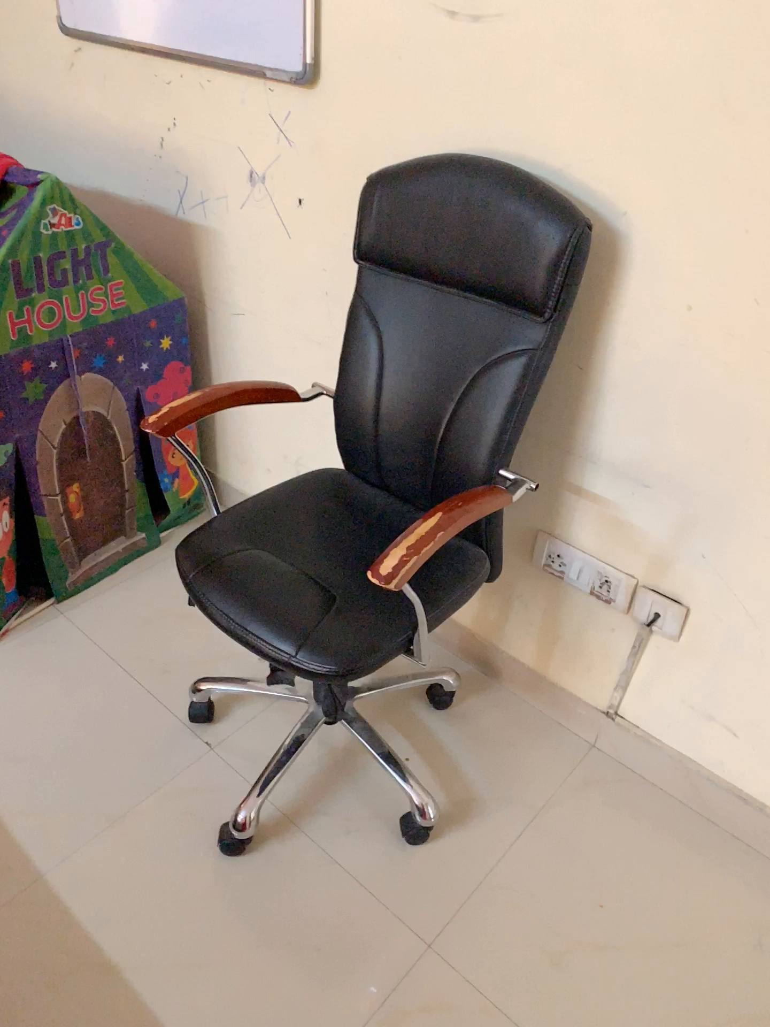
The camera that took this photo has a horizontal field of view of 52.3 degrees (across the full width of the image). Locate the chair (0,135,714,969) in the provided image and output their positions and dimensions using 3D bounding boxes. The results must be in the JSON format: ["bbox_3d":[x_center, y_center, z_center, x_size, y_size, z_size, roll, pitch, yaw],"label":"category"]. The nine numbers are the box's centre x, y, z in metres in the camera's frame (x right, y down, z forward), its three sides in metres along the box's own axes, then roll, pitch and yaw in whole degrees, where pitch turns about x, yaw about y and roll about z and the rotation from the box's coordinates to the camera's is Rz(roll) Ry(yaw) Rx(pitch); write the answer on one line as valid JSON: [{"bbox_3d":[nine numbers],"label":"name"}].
[{"bbox_3d":[-0.063,0.005,1.404,0.703,1.080,0.753,30,42,32],"label":"chair"}]
